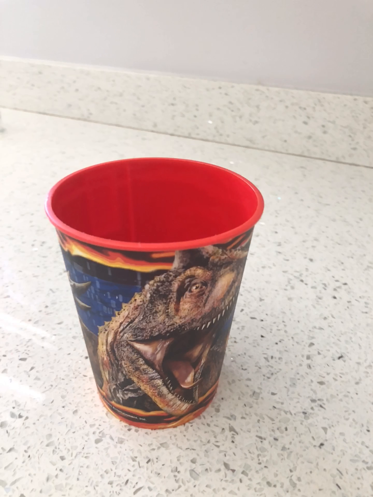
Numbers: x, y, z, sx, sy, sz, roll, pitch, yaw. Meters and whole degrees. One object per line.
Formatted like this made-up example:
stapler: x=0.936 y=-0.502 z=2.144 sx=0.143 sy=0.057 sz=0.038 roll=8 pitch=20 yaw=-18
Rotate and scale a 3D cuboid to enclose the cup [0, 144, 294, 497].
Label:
cup: x=-0.018 y=0.025 z=0.195 sx=0.090 sy=0.110 sz=0.090 roll=1 pitch=31 yaw=-1
